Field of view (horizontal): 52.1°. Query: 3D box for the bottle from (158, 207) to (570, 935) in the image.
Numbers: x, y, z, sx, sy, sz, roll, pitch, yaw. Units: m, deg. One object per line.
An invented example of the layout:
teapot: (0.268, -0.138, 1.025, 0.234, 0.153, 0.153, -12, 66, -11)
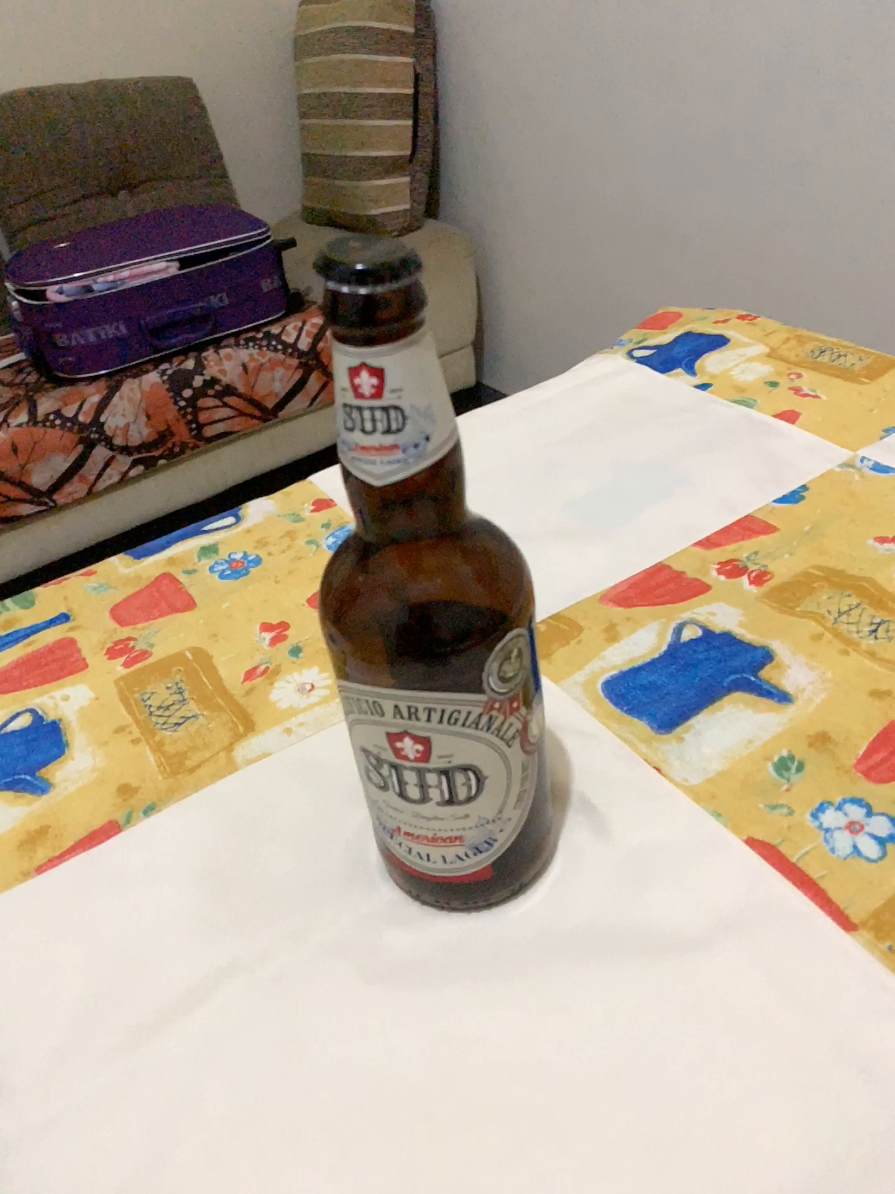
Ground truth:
bottle: (-0.009, 0.006, 0.307, 0.080, 0.239, 0.070, 3, 38, 15)
